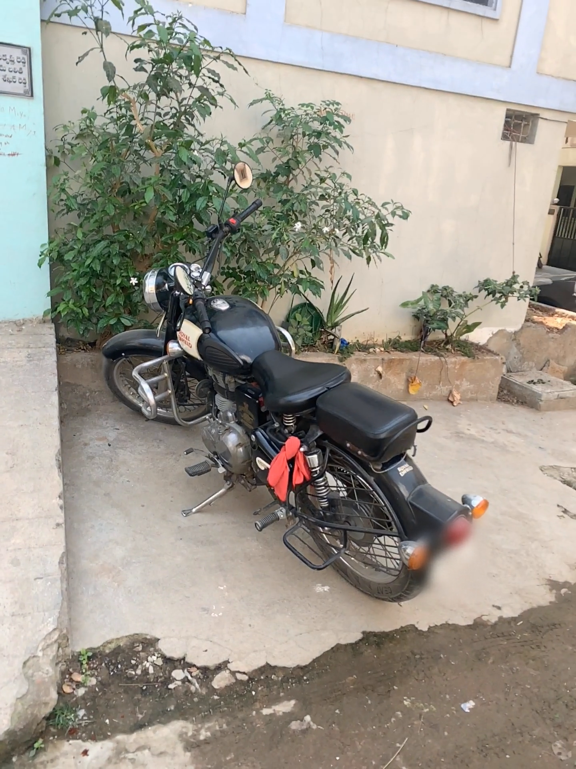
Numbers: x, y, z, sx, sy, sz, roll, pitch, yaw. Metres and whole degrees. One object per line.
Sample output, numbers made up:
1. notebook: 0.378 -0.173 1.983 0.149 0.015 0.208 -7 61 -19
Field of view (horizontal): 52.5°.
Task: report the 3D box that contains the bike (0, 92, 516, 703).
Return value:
1. bike: -0.263 -0.156 2.233 1.790 1.341 0.747 26 27 33
